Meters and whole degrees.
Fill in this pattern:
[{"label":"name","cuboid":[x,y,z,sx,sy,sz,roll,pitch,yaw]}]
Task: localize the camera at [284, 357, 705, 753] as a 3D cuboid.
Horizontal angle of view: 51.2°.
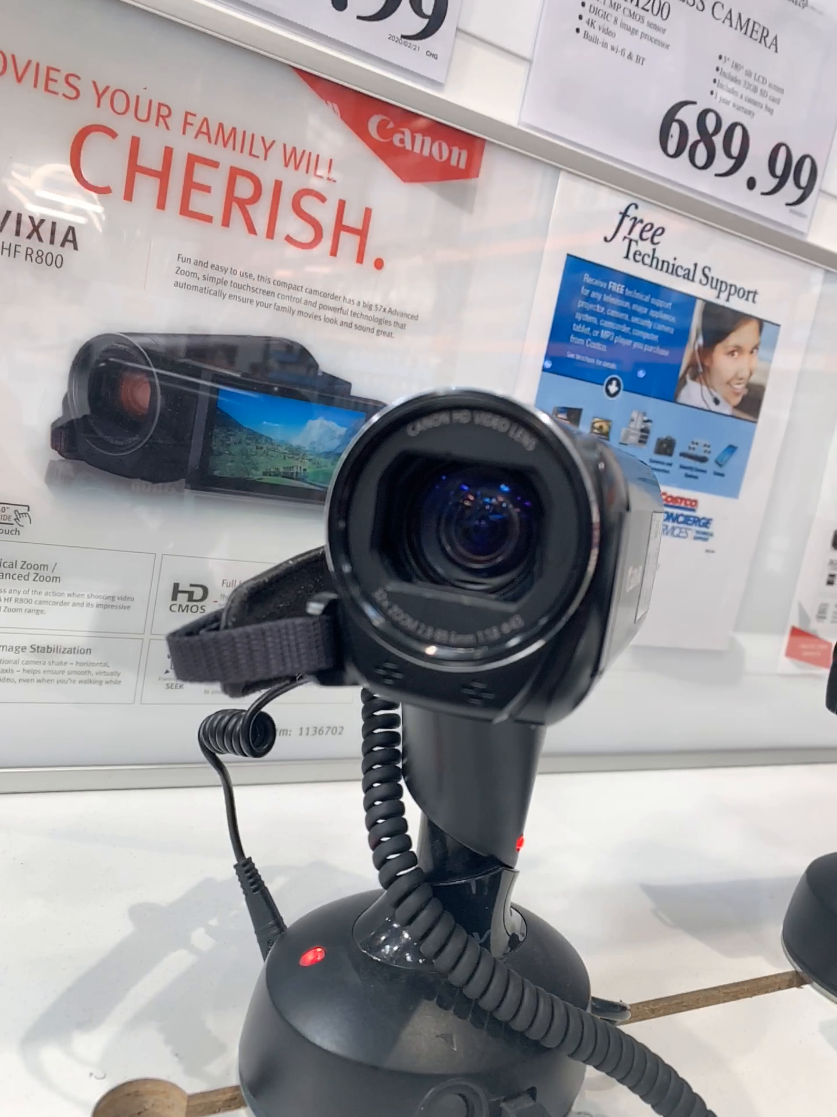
[{"label":"camera","cuboid":[0.028,-0.007,0.190,0.050,0.050,0.125,14,9,19]}]
